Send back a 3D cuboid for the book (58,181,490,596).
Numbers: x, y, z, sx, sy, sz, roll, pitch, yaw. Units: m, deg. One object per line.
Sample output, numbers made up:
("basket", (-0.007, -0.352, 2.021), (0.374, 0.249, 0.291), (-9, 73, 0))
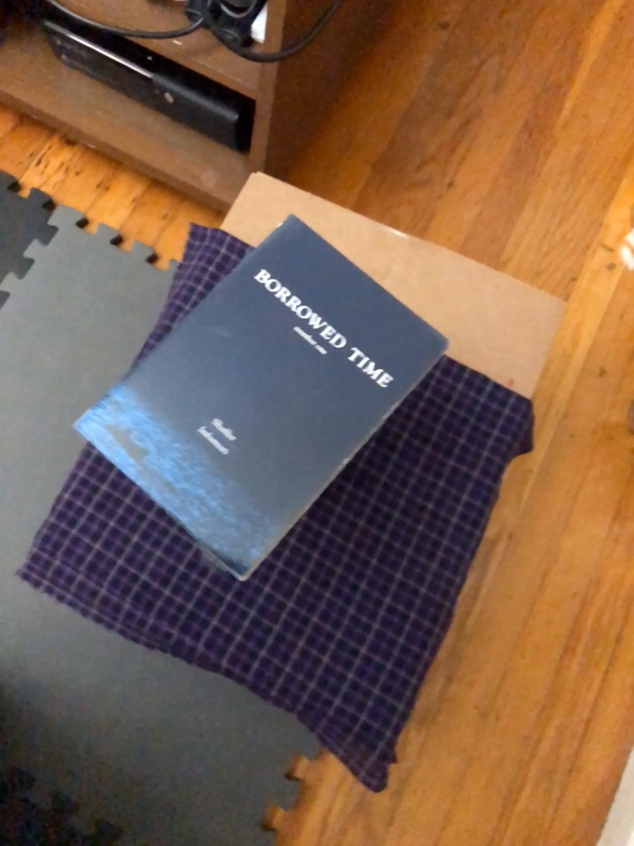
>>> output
("book", (-0.021, -0.033, 0.448), (0.160, 0.010, 0.230), (40, 74, 8))
